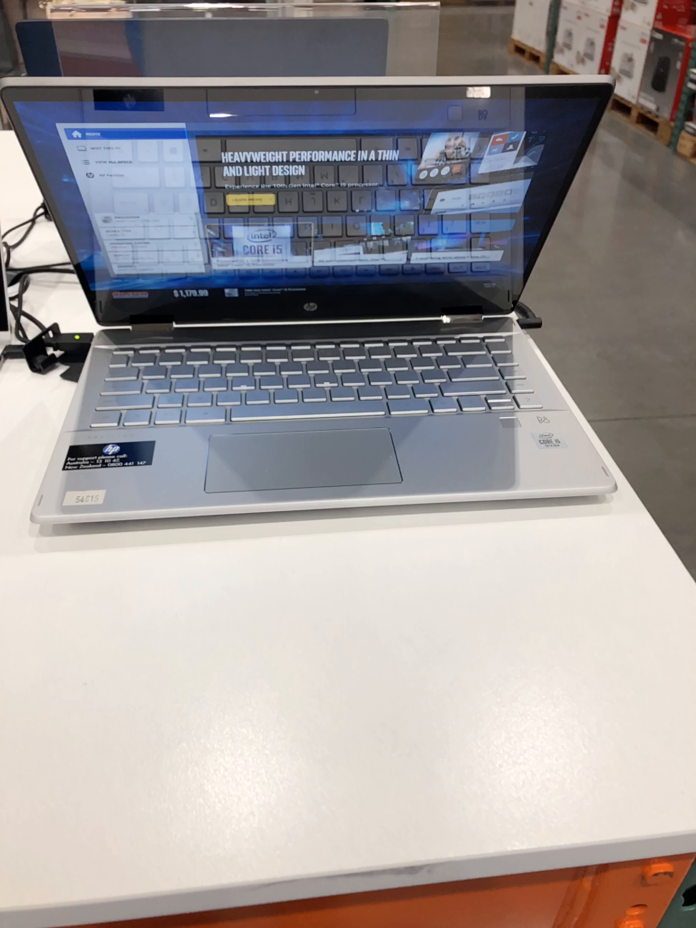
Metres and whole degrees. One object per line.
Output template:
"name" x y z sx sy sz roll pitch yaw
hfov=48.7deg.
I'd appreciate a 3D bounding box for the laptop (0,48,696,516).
"laptop" -0.019 -0.117 0.445 0.317 0.185 0.207 -3 36 -4
